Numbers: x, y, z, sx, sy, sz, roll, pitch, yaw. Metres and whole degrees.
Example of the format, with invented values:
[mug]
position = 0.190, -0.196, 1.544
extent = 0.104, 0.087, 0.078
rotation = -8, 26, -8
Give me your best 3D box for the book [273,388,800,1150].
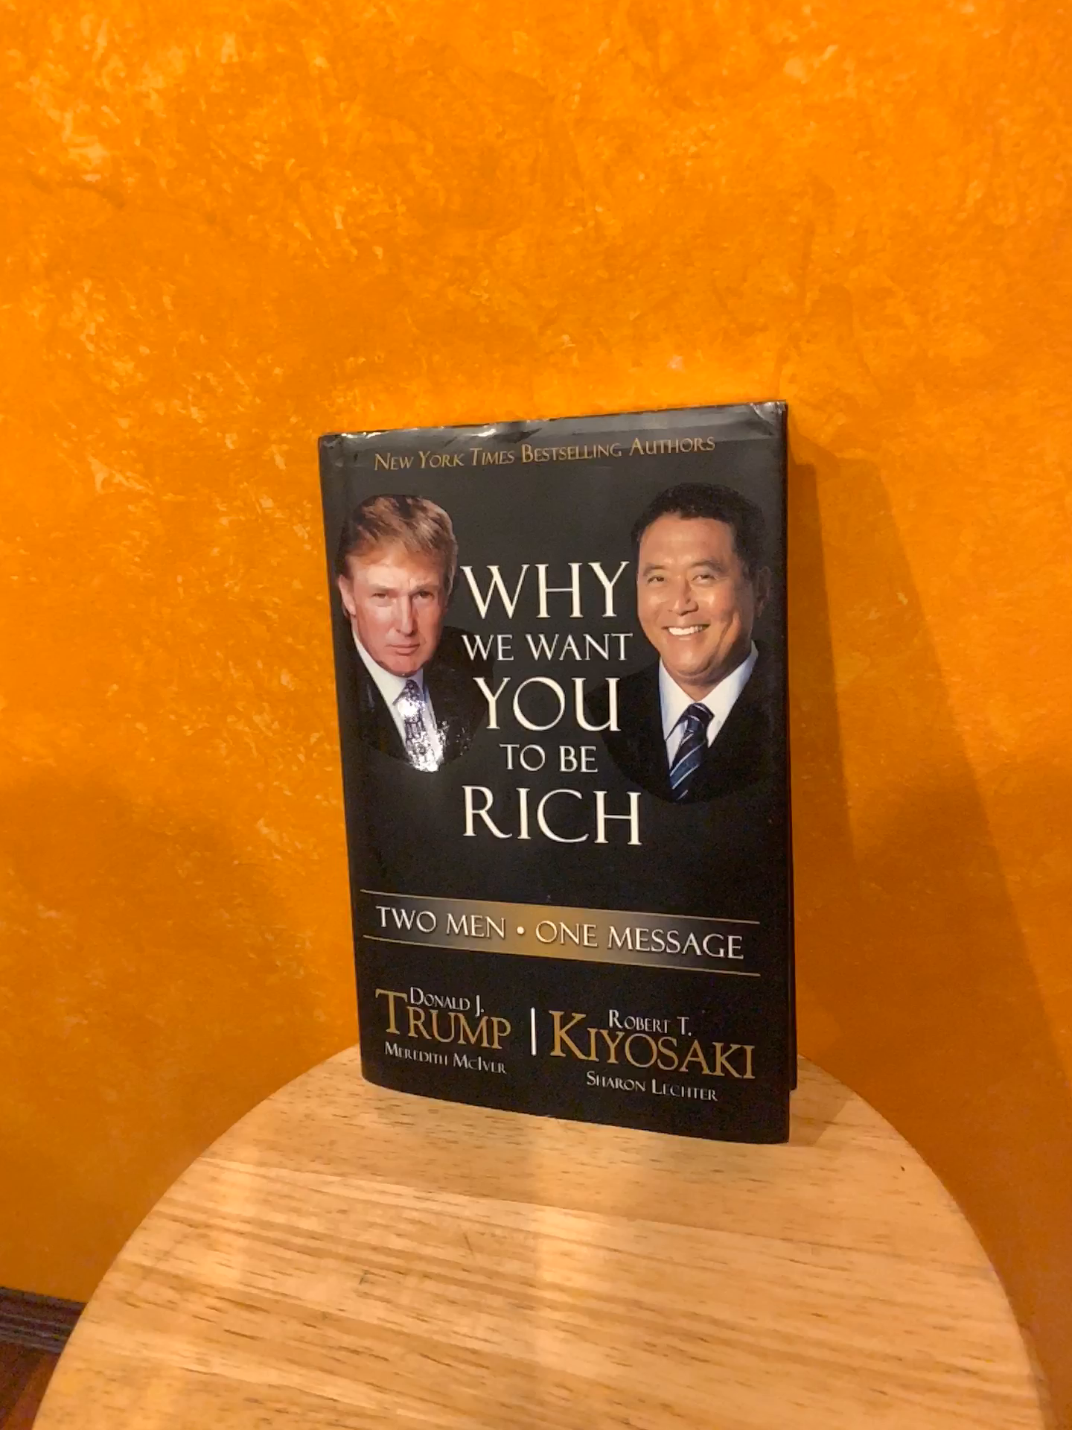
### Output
[book]
position = 0.003, 0.015, 0.345
extent = 0.151, 0.210, 0.044
rotation = 1, 10, 21
